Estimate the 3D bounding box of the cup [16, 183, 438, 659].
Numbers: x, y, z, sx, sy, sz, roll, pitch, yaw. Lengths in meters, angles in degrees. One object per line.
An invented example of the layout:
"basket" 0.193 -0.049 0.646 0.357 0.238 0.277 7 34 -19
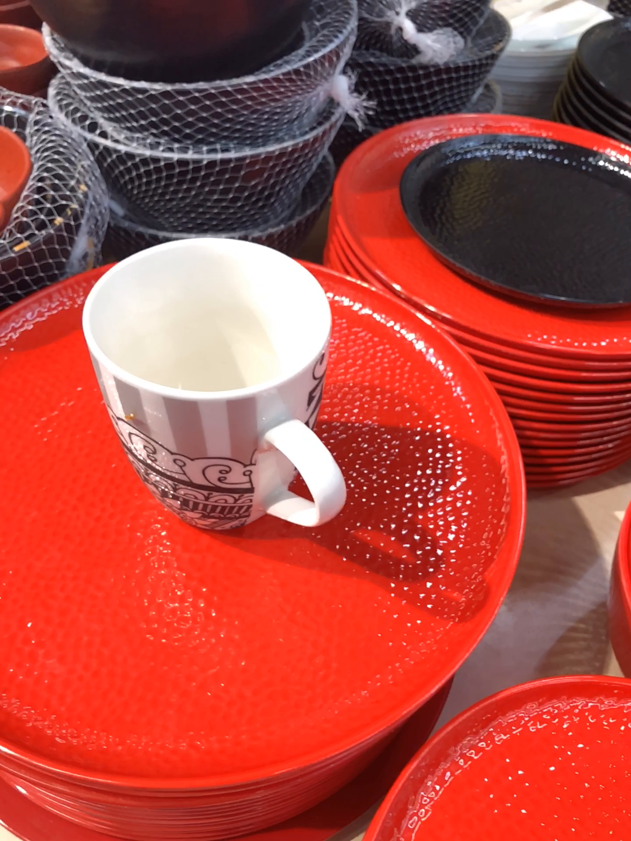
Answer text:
"cup" -0.035 -0.004 0.258 0.080 0.099 0.120 -27 55 -26
